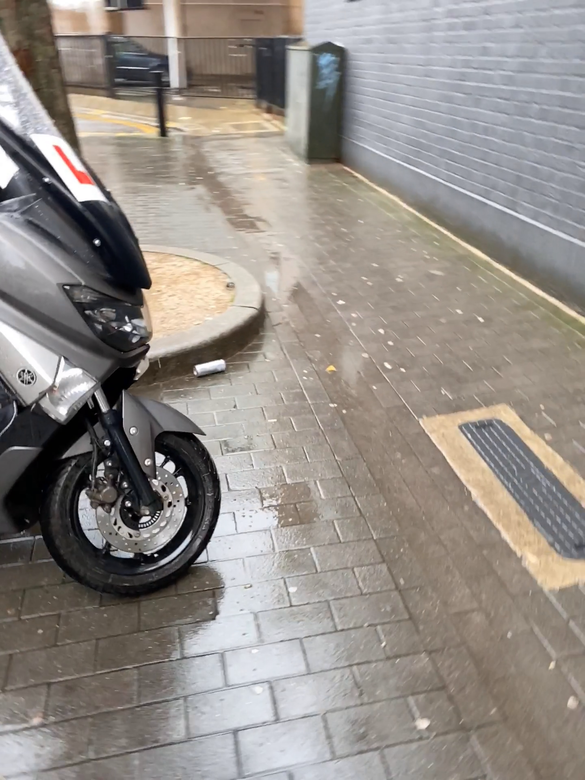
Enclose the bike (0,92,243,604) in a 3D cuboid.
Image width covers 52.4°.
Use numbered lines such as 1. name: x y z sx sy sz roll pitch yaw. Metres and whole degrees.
1. bike: -1.079 -0.149 1.666 1.730 1.122 0.763 3 29 1
